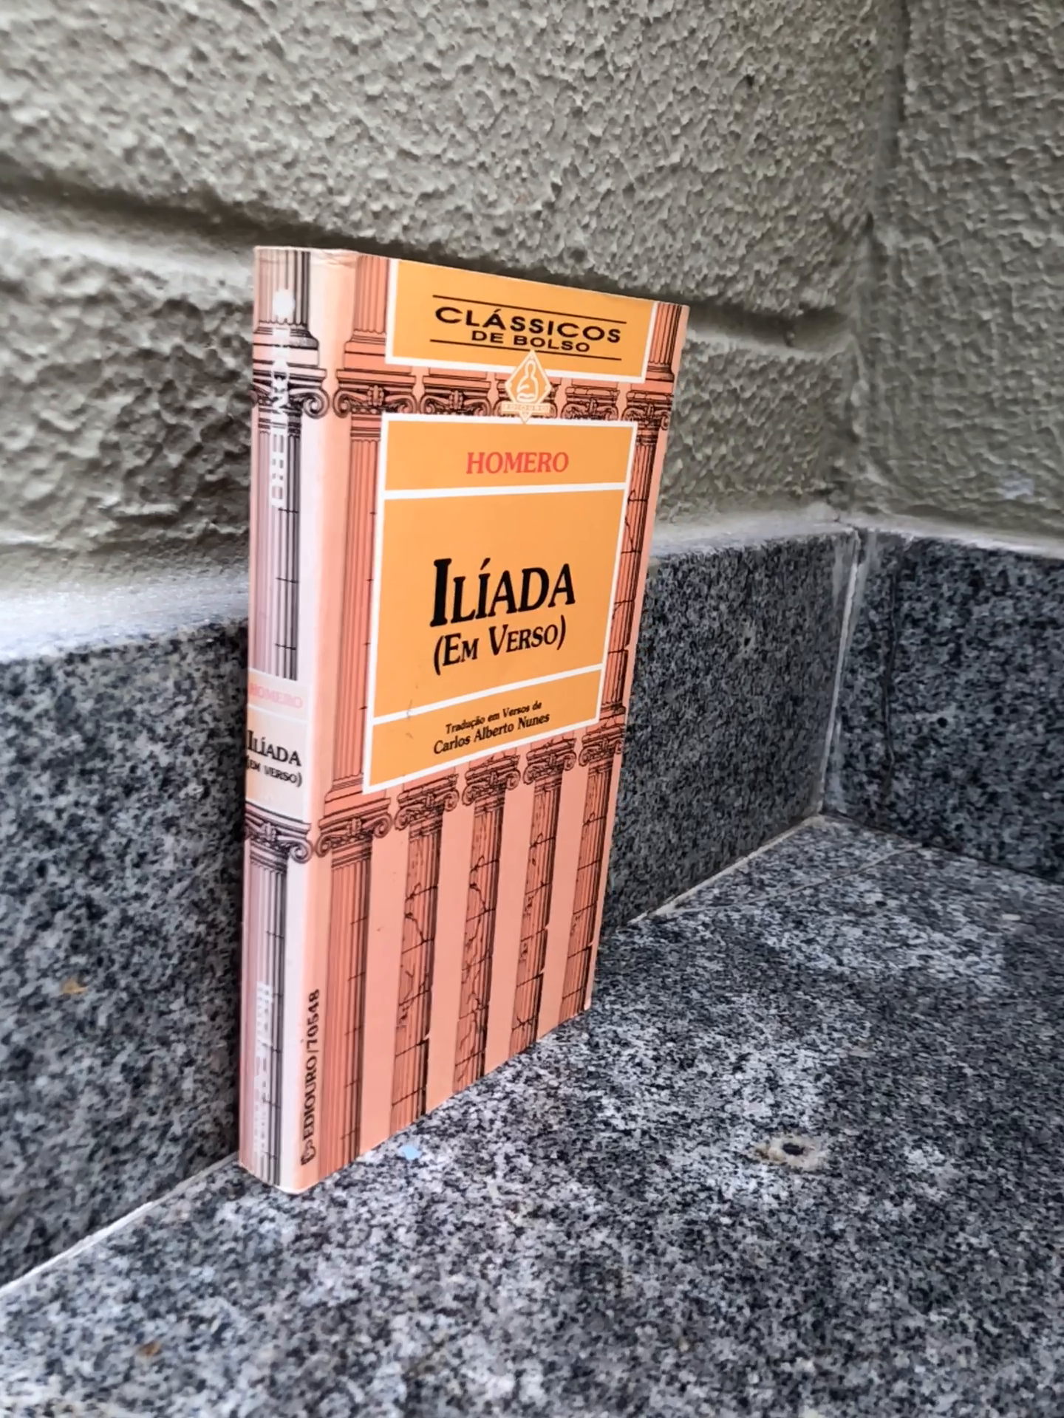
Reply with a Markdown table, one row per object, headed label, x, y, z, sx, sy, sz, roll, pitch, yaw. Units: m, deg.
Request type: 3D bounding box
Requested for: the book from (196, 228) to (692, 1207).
| label | x | y | z | sx | sy | sz | roll | pitch | yaw |
| --- | --- | --- | --- | --- | --- | --- | --- | --- | --- |
| book | -0.020 | -0.001 | 0.315 | 0.030 | 0.219 | 0.140 | 17 | 20 | 35 |
